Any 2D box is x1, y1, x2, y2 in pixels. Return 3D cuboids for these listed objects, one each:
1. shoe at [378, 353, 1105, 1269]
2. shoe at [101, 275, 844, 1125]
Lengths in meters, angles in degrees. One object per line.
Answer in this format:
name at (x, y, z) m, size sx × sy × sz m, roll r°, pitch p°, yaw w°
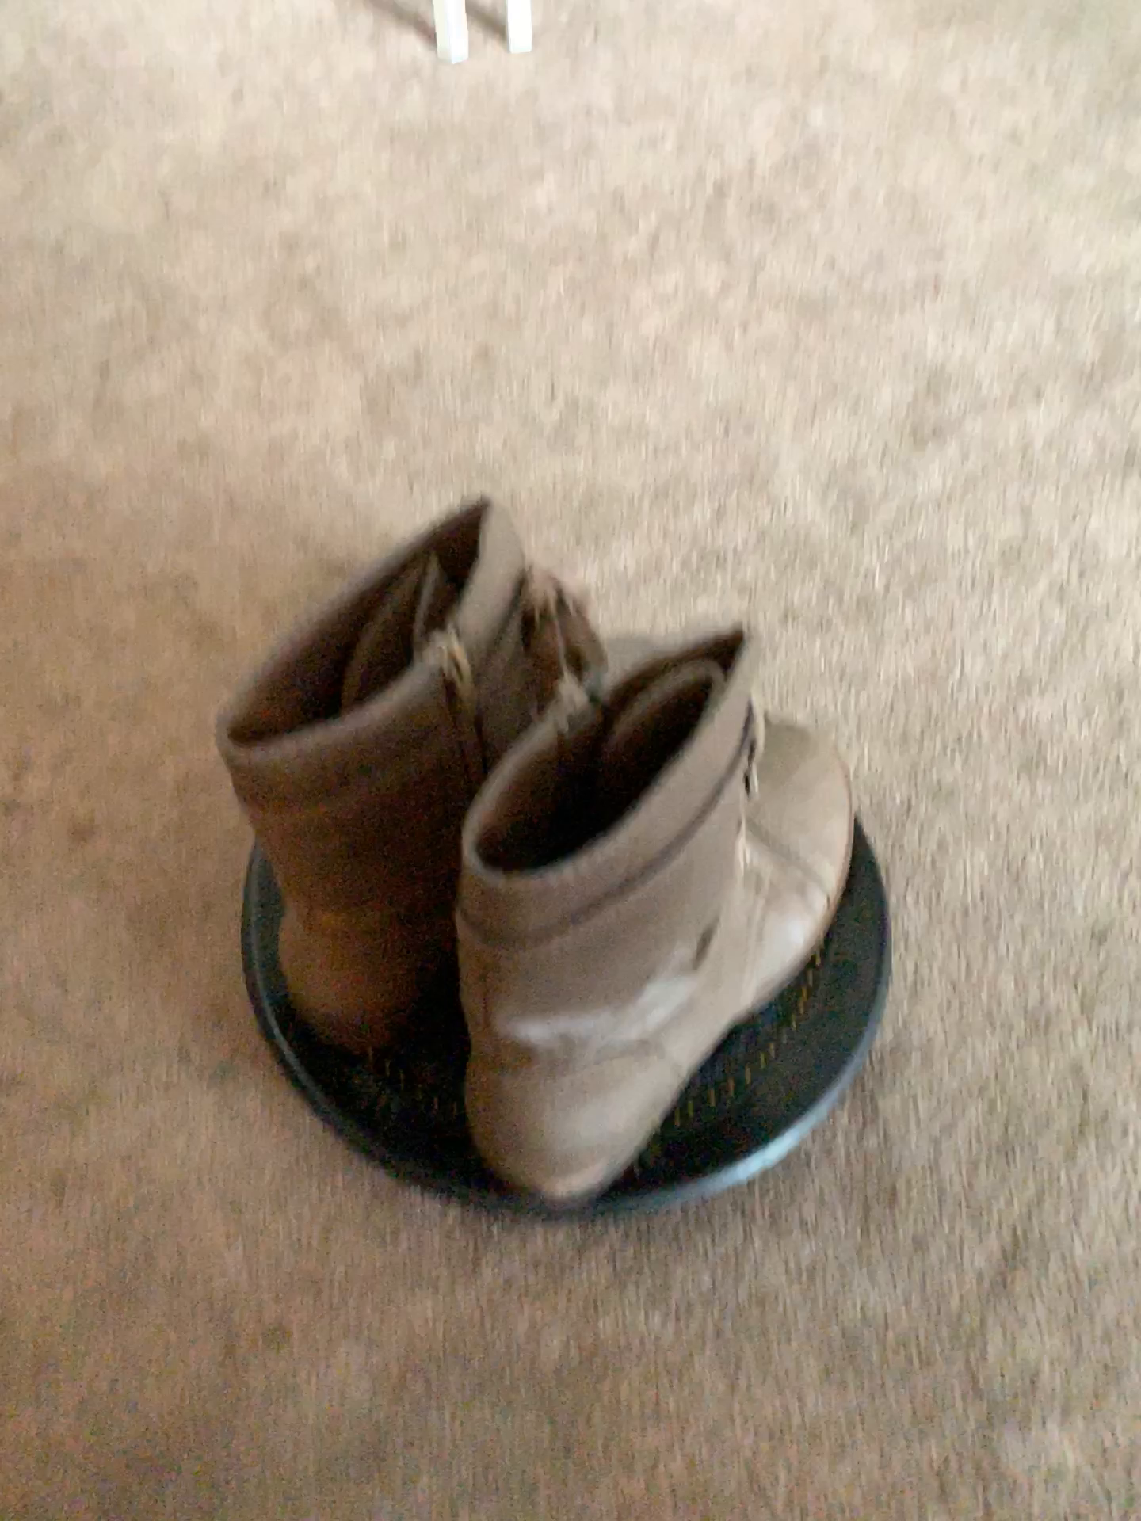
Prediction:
shoe at (0.064, 0.015, 0.435) m, size 0.100 × 0.198 × 0.272 m, roll 30°, pitch 57°, yaw 19°
shoe at (-0.020, -0.027, 0.467) m, size 0.100 × 0.198 × 0.272 m, roll 30°, pitch 57°, yaw 19°
